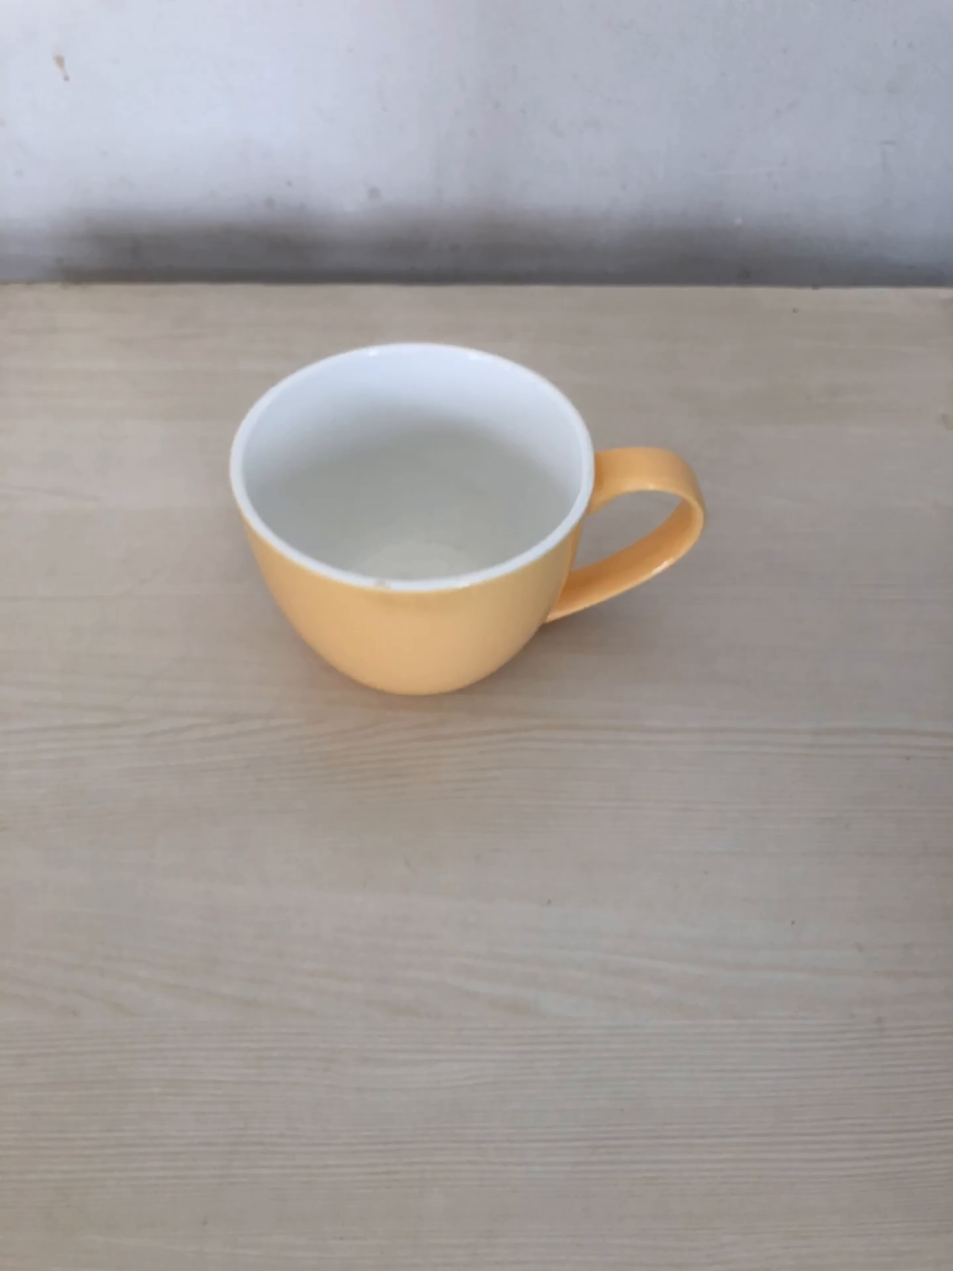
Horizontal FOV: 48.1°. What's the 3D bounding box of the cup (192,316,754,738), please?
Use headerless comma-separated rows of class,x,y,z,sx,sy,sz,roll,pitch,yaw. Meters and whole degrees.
cup,-0.001,-0.033,0.329,0.140,0.079,0.101,1,50,0
